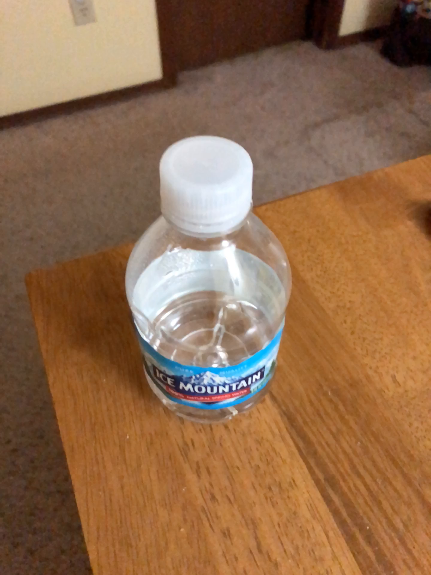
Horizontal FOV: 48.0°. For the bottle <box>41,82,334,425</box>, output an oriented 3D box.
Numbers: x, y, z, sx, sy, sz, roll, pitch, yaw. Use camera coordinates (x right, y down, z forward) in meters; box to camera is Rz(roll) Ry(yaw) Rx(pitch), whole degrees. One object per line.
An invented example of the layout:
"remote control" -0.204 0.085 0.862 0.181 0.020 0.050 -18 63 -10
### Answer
"bottle" -0.005 -0.005 0.180 0.070 0.110 0.070 0 52 0
